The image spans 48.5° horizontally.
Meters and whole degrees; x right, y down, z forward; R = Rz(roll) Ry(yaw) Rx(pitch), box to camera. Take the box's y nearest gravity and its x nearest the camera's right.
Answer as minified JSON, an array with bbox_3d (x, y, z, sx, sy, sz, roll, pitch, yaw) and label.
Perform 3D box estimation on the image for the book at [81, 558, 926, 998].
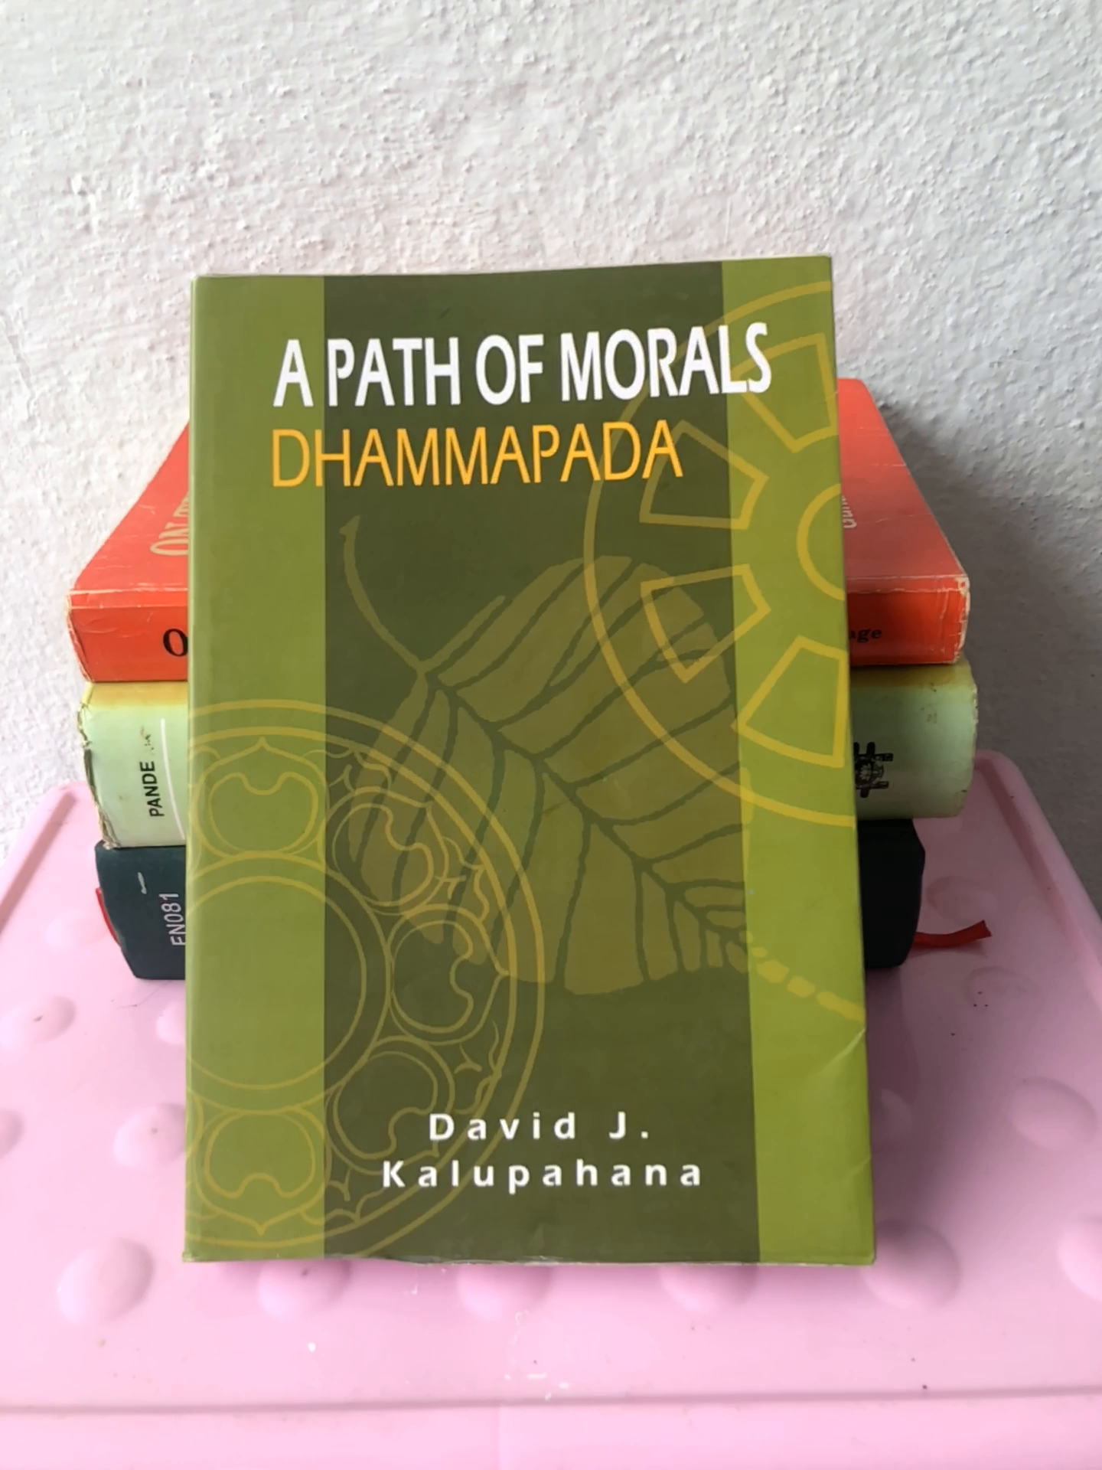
[{"bbox_3d":[-0.008,0.005,0.383,0.210,0.050,0.161,-2,32,5],"label":"book"}]

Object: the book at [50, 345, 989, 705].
[{"bbox_3d":[-0.006,-0.068,0.349,0.210,0.030,0.161,-3,32,3],"label":"book"}]

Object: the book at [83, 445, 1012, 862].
[{"bbox_3d":[0.000,-0.032,0.355,0.210,0.040,0.161,-2,32,3],"label":"book"}]

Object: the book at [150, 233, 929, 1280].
[{"bbox_3d":[-0.003,0.002,0.267,0.150,0.210,0.040,-1,-7,2],"label":"book"}]
